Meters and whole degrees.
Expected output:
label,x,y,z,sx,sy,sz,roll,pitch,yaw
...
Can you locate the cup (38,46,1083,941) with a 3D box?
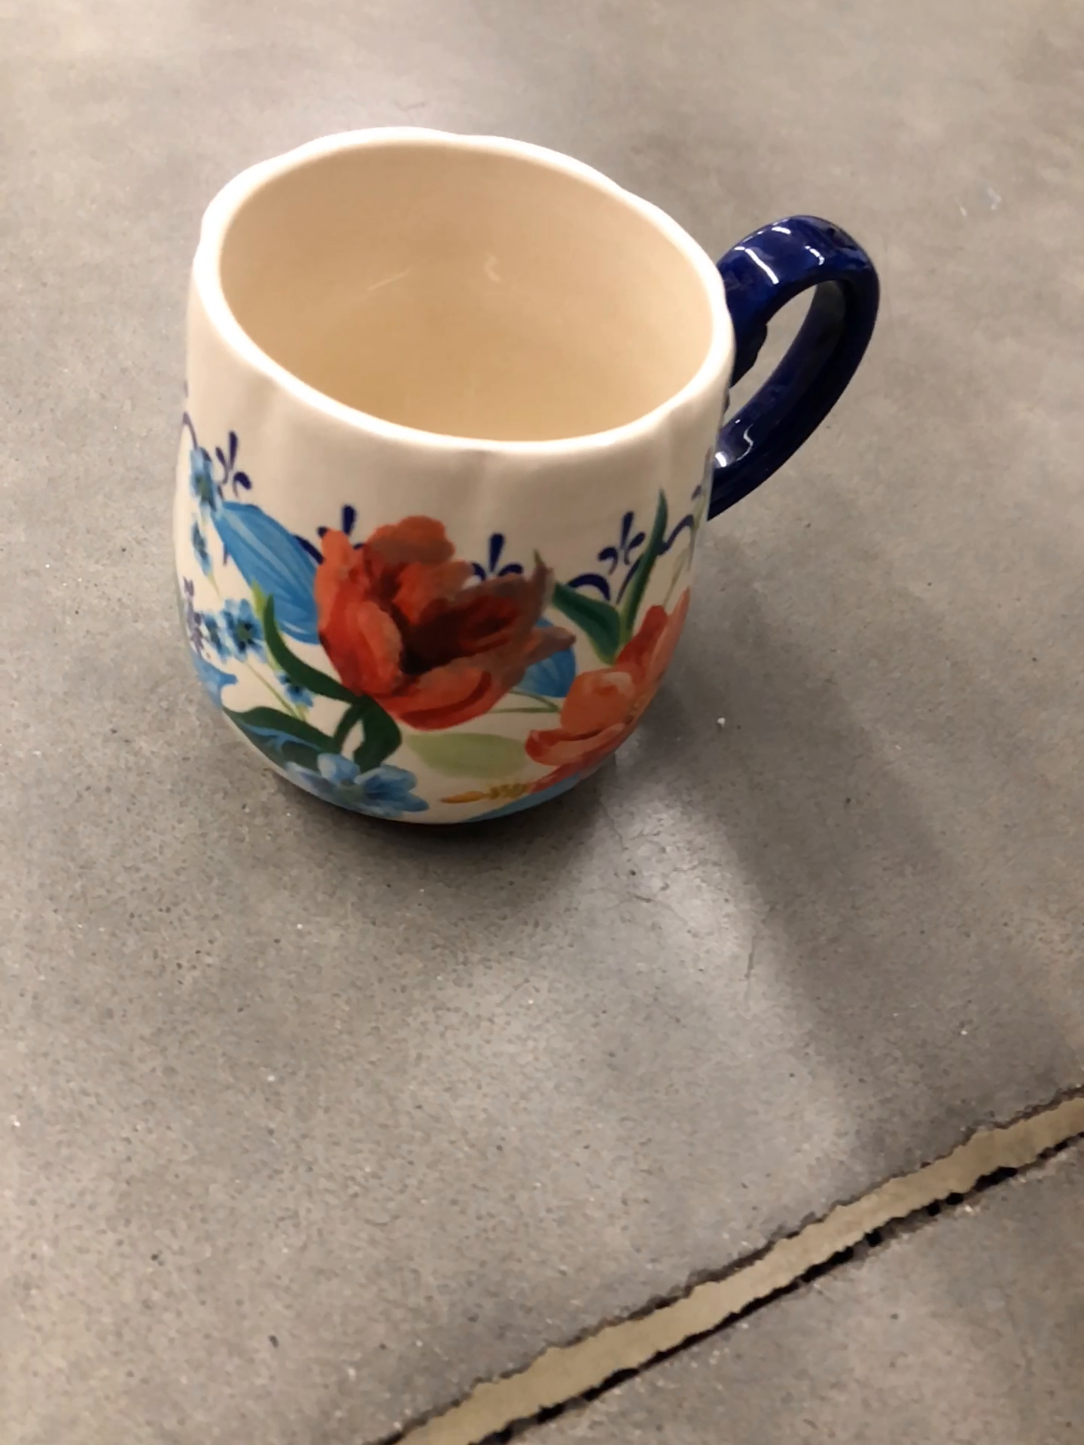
label,x,y,z,sx,sy,sz,roll,pitch,yaw
cup,-0.002,-0.048,0.234,0.140,0.099,0.100,-21,62,-23
